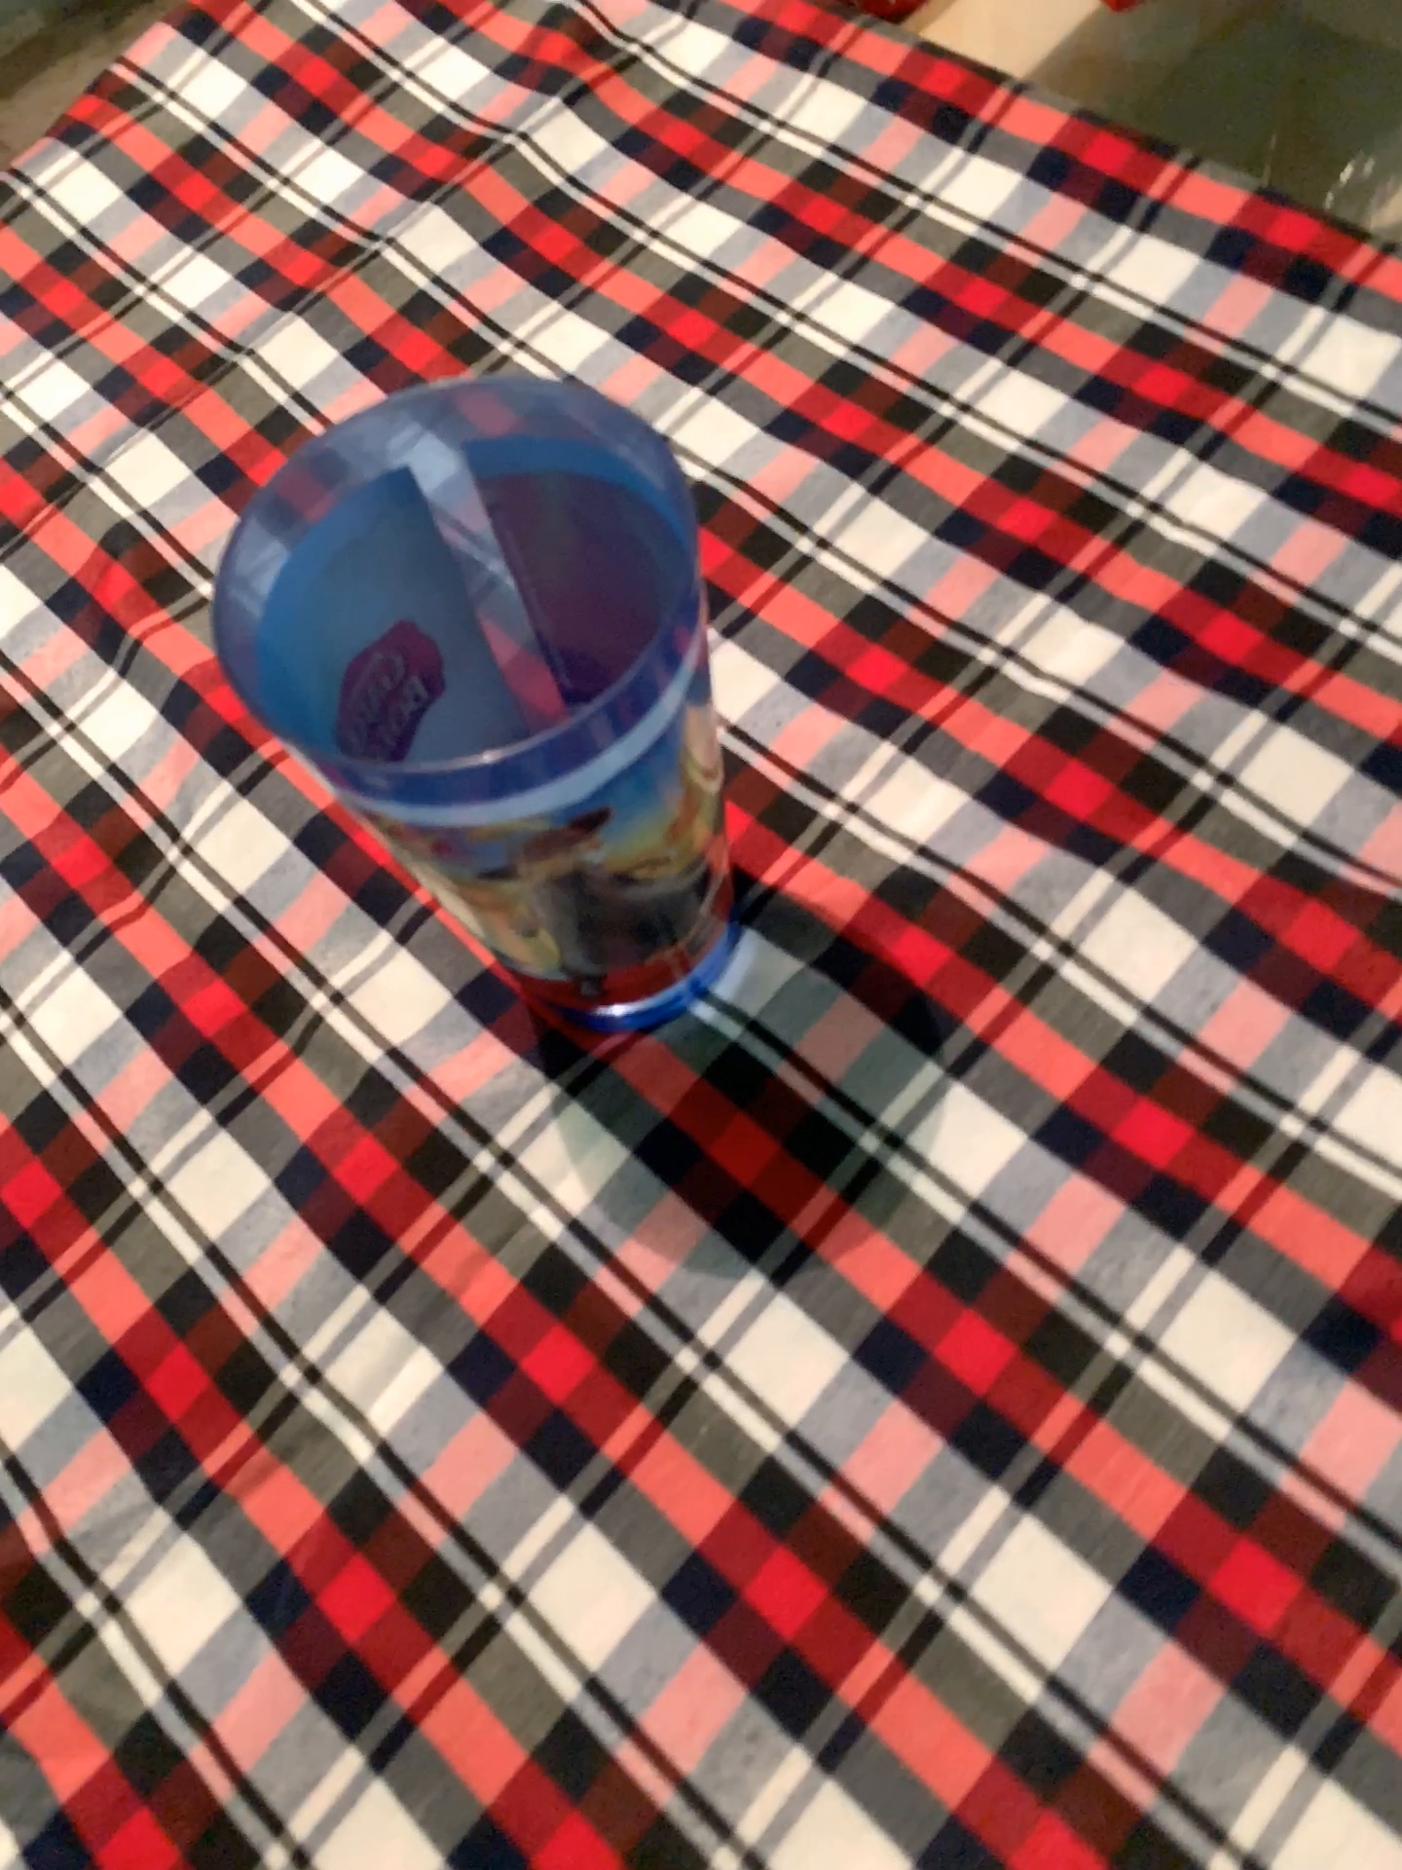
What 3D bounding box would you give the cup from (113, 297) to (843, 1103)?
[{"bbox_3d":[-0.033,-0.043,0.308,0.090,0.130,0.090,-4,63,7],"label":"cup"}]
